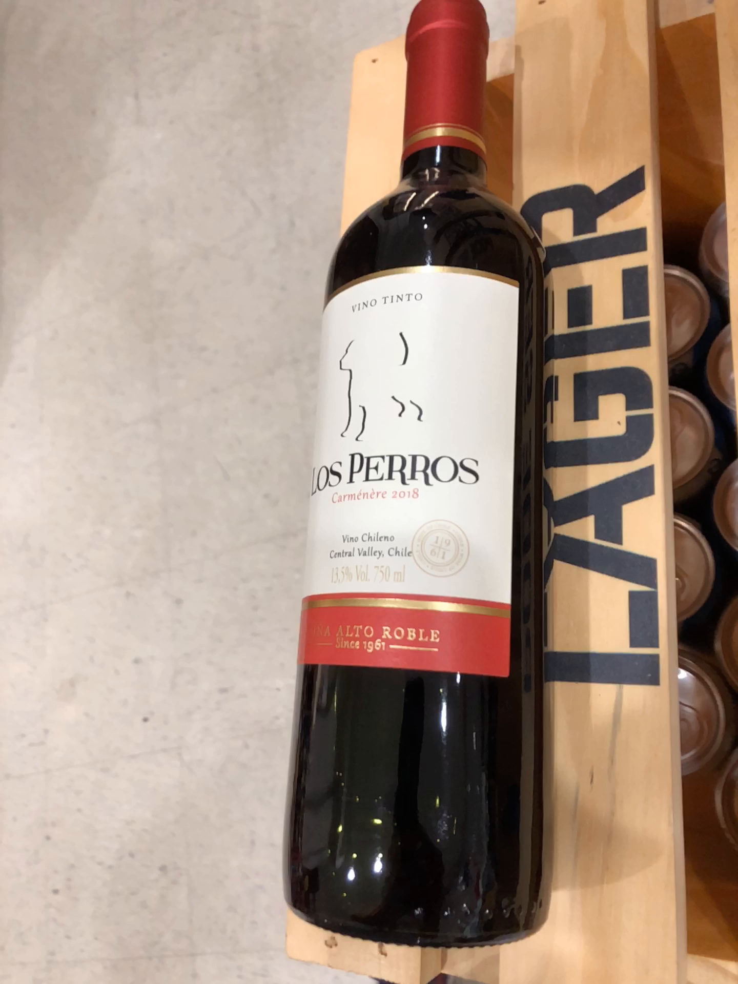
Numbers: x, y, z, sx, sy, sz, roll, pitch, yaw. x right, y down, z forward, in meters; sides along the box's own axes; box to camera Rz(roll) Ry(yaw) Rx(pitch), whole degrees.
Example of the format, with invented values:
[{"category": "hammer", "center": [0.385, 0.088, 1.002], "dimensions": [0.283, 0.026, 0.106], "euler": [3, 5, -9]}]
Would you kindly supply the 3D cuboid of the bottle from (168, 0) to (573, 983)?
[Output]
[{"category": "bottle", "center": [0.009, -0.032, 0.252], "dimensions": [0.090, 0.060, 0.310], "euler": [-4, 75, 27]}]
